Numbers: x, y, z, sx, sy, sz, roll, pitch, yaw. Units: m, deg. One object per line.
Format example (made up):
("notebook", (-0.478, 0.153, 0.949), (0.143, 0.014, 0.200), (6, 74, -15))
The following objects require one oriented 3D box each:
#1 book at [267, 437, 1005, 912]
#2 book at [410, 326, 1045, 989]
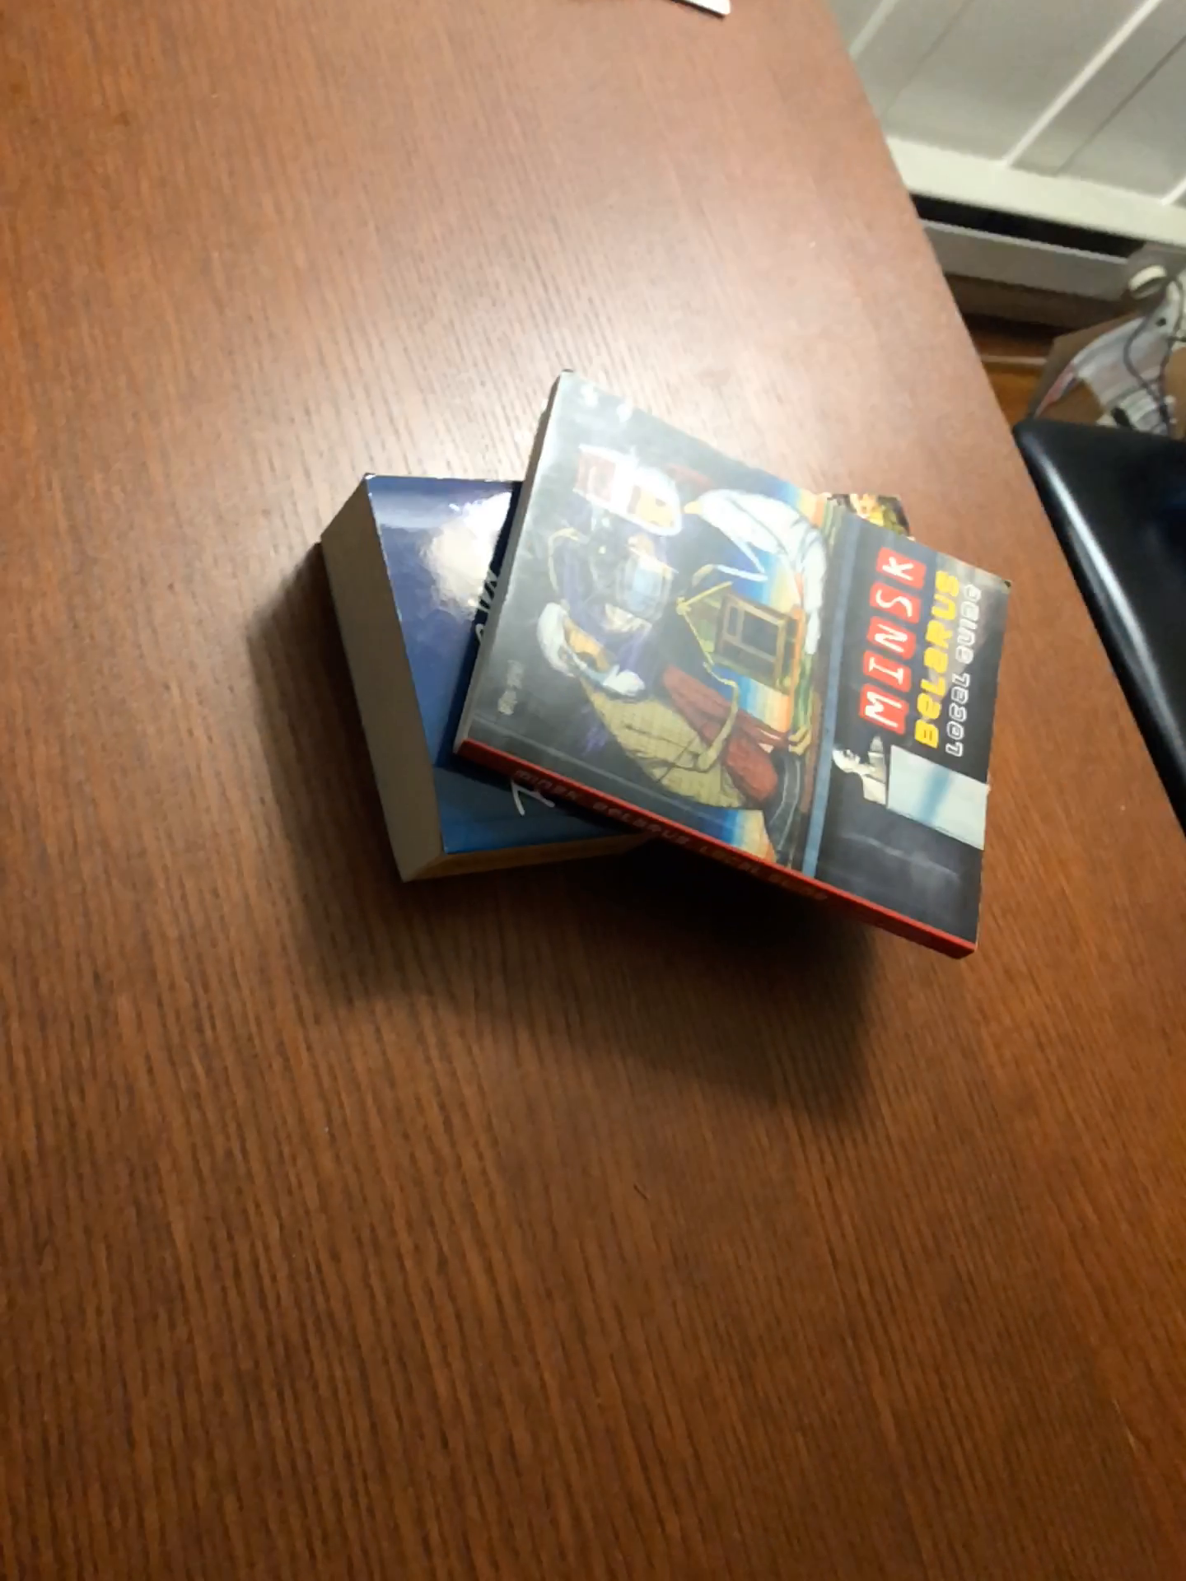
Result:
("book", (0.020, -0.043, 0.426), (0.221, 0.040, 0.130), (-6, 70, -30))
("book", (0.053, -0.039, 0.394), (0.190, 0.020, 0.151), (20, 59, -19))
